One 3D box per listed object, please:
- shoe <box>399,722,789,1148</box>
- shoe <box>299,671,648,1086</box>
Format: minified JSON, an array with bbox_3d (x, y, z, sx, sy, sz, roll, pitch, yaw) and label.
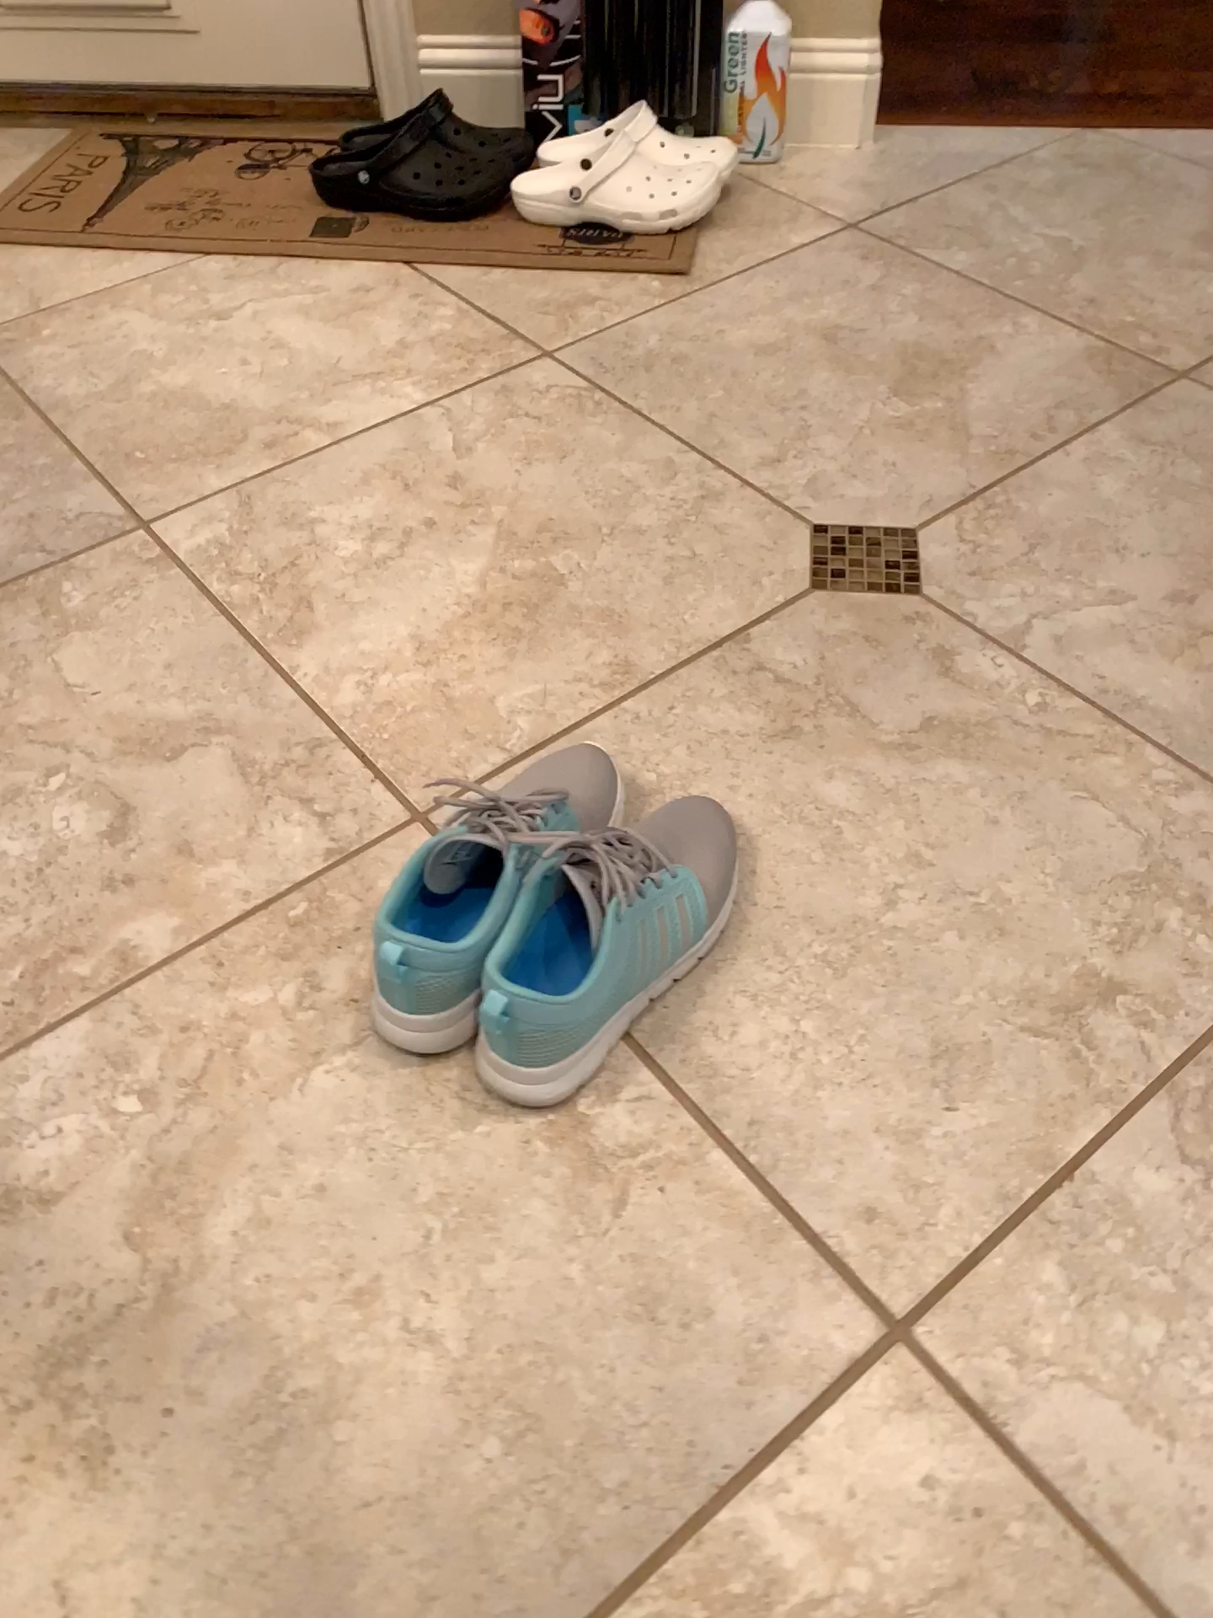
[{"bbox_3d":[0.000,0.077,0.845,0.107,0.108,0.271,30,55,26],"label":"shoe"},{"bbox_3d":[-0.080,0.040,0.878,0.106,0.108,0.272,21,52,20],"label":"shoe"}]
